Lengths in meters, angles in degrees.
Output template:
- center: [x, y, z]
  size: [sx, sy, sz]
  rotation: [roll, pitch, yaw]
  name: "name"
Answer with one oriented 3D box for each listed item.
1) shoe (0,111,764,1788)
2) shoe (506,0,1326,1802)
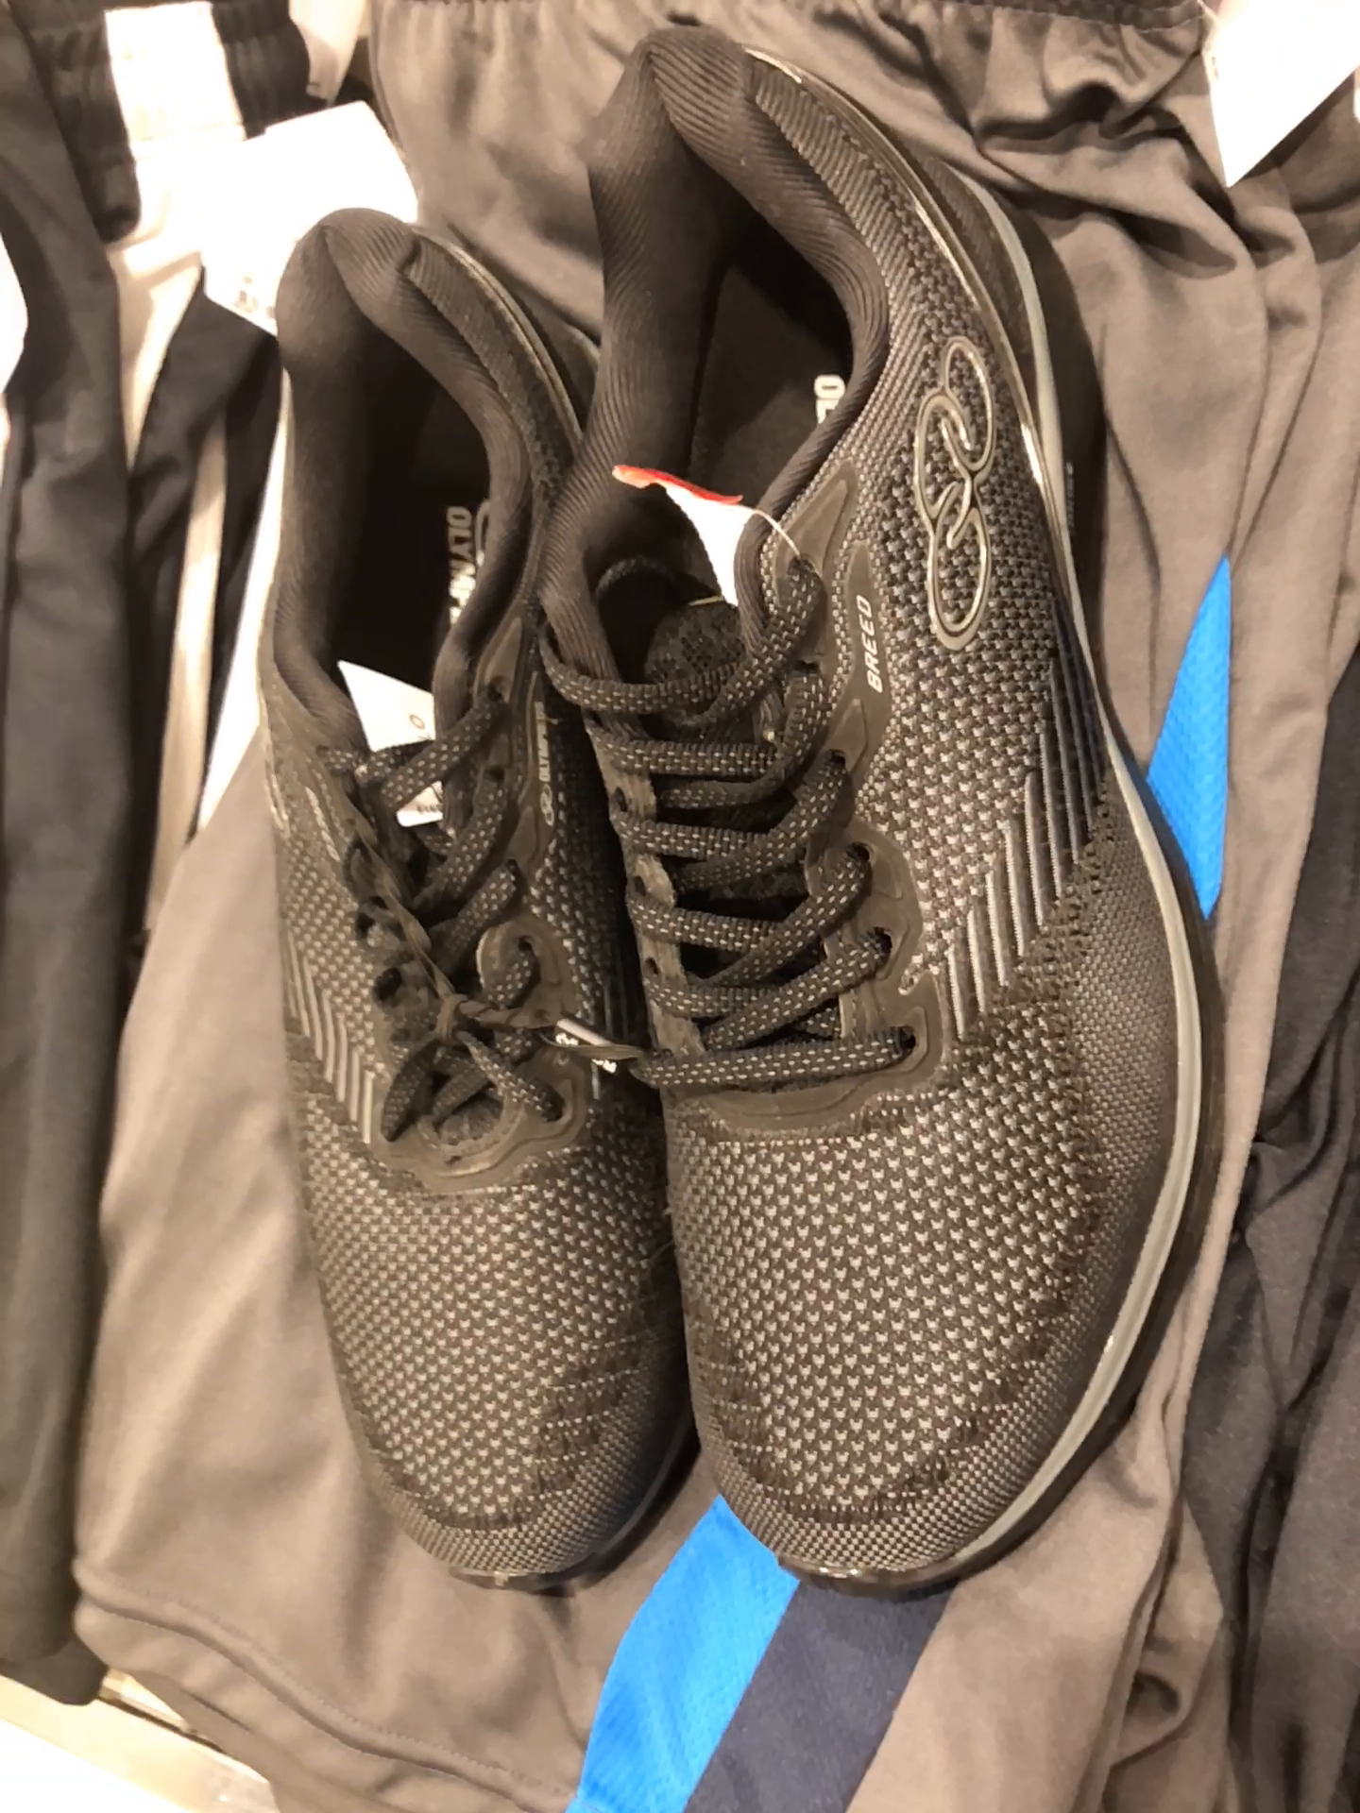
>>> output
- center: [-0.051, 0.005, 0.307]
  size: [0.100, 0.100, 0.270]
  rotation: [-6, 78, 26]
  name: "shoe"
- center: [0.042, -0.025, 0.261]
  size: [0.100, 0.100, 0.280]
  rotation: [-6, 78, 26]
  name: "shoe"
